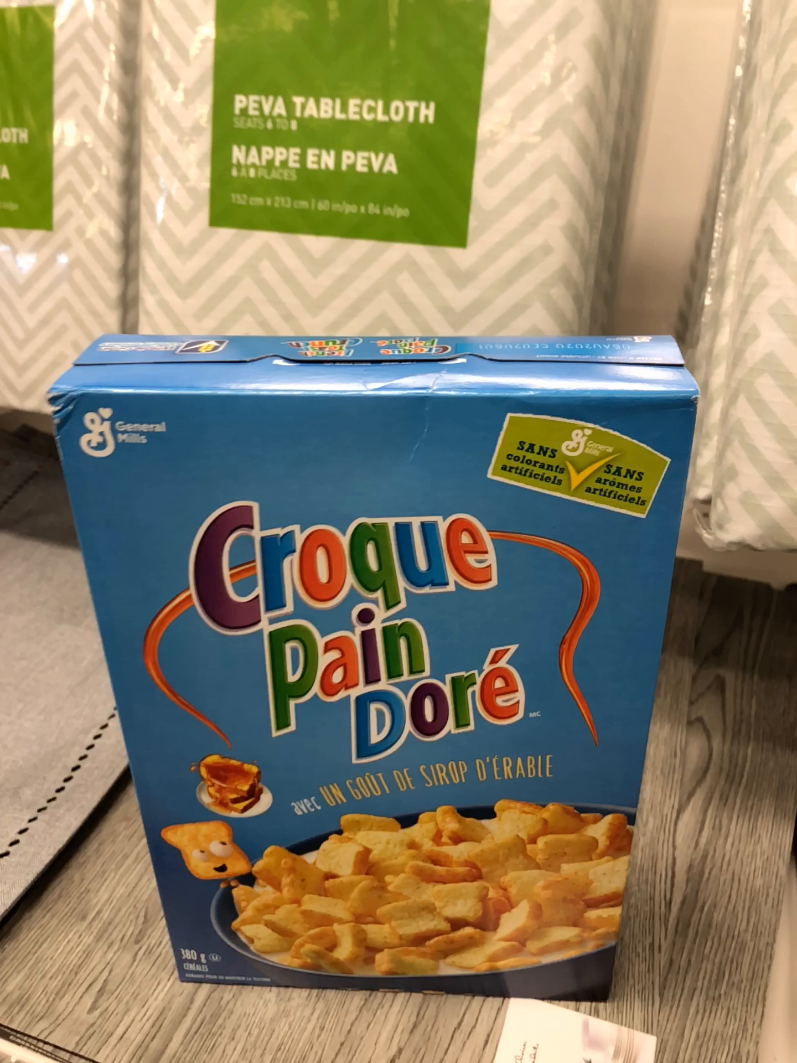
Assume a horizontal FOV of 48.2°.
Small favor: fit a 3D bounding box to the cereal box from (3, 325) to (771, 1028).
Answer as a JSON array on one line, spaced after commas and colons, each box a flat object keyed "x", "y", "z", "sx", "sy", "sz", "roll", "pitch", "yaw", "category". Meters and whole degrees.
[{"x": -0.001, "y": 0.069, "z": 0.331, "sx": 0.210, "sy": 0.279, "sz": 0.050, "roll": 1, "pitch": 29, "yaw": 5, "category": "cereal box"}]
